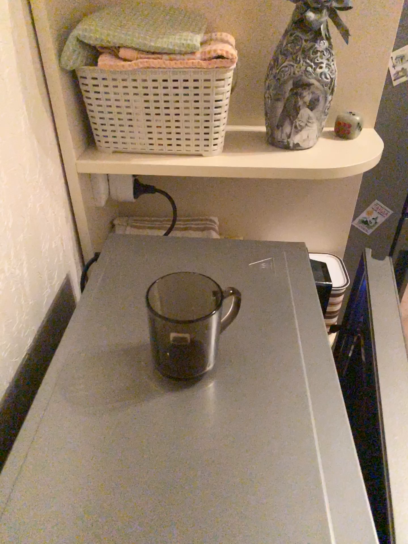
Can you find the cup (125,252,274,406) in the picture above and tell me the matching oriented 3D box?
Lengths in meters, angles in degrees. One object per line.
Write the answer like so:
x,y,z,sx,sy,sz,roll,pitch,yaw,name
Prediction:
-0.004,0.050,0.404,0.110,0.079,0.080,-23,43,-28,cup
